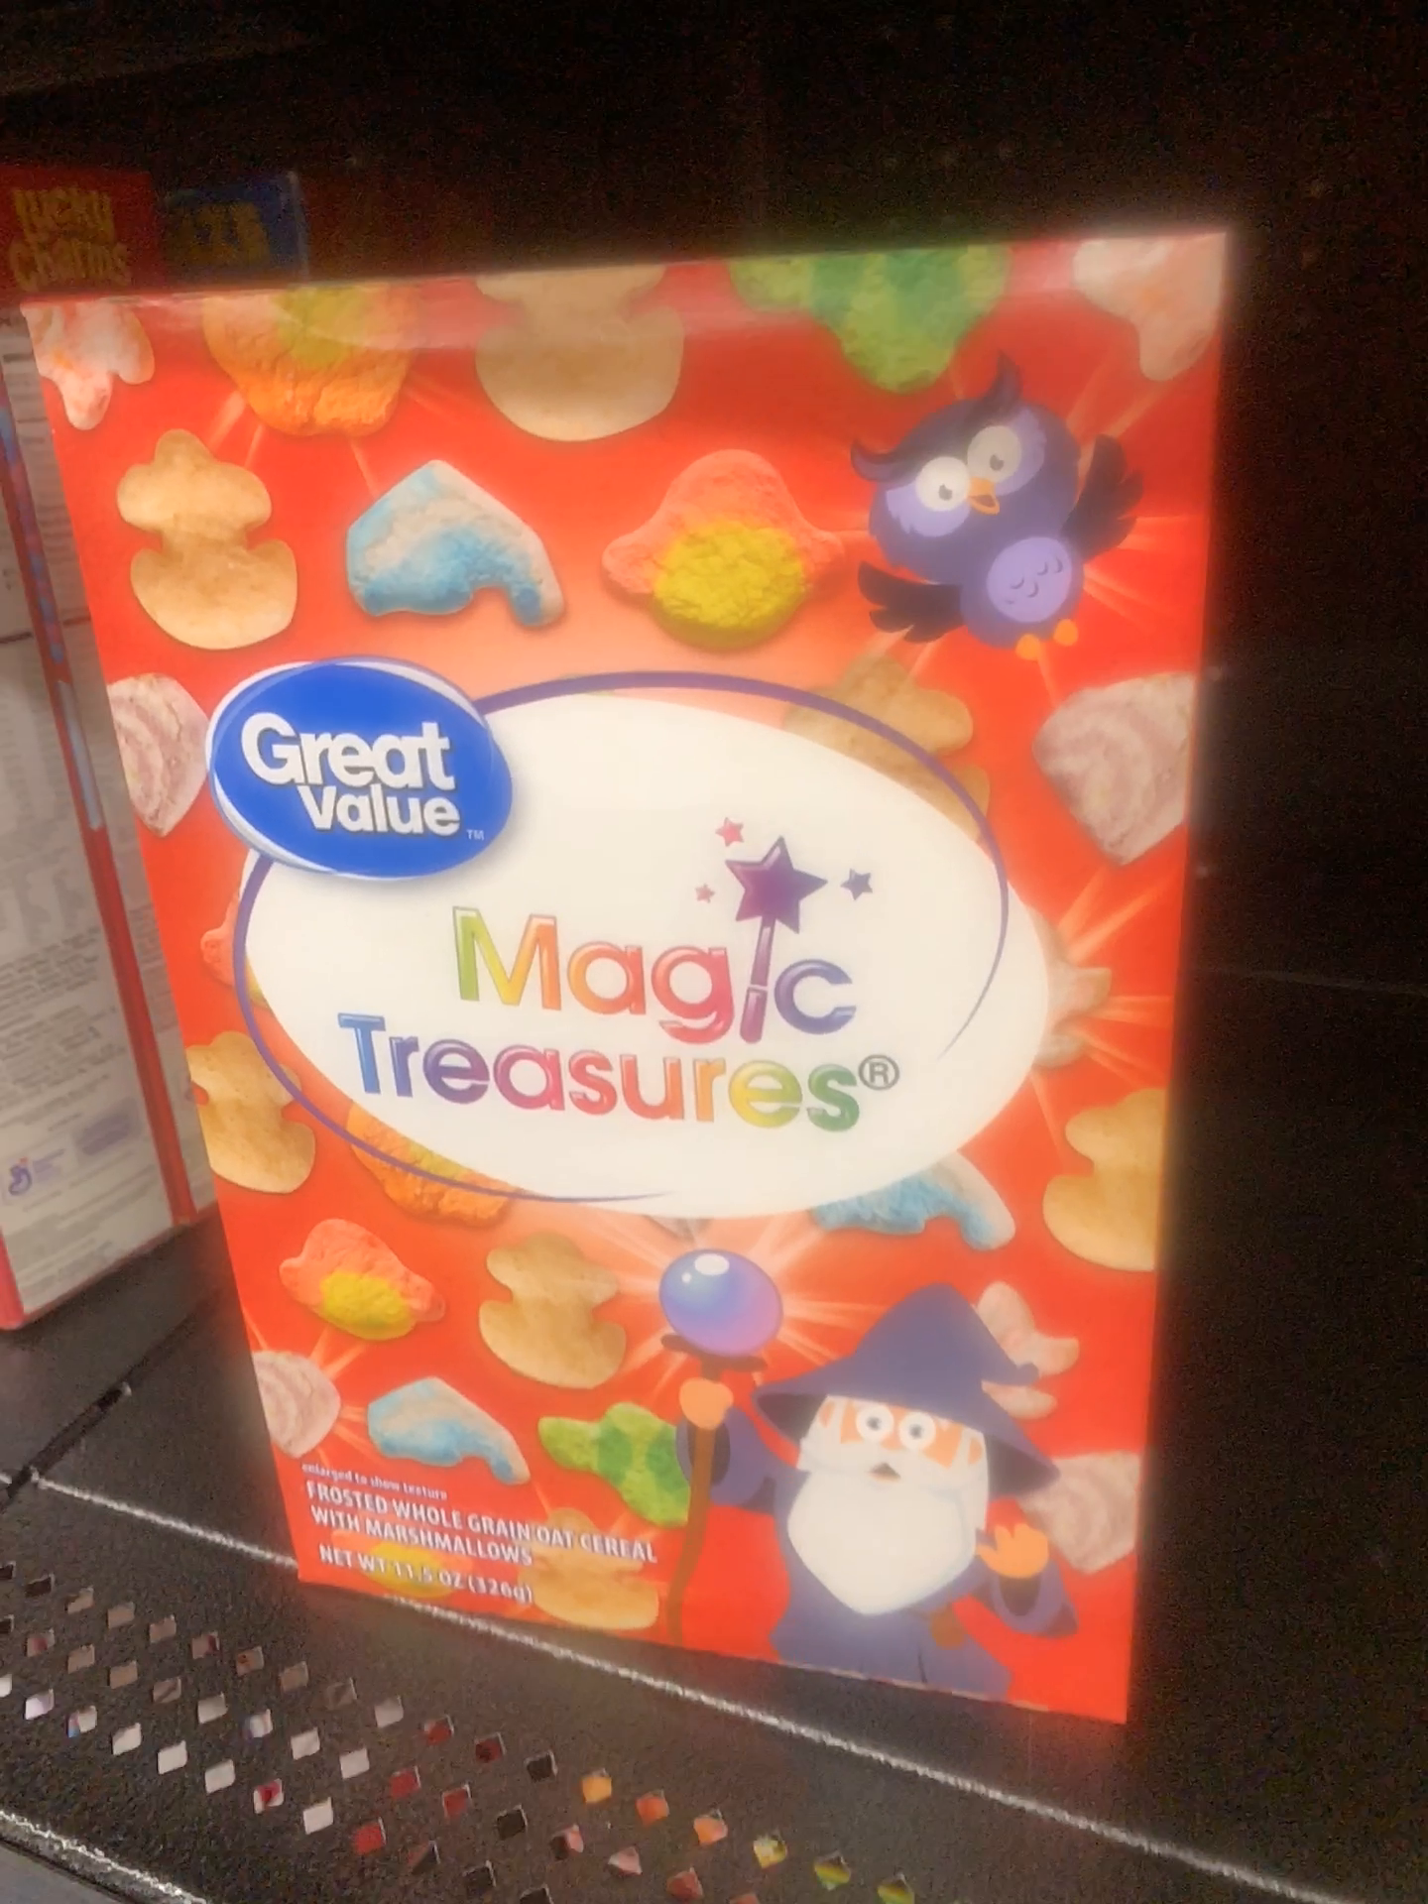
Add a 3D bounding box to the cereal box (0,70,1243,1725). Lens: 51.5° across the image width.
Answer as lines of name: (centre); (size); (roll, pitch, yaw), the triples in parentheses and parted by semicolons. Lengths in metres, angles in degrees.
cereal box: (-0.012, 0.000, 0.297); (0.200, 0.279, 0.070); (3, 20, 15)
